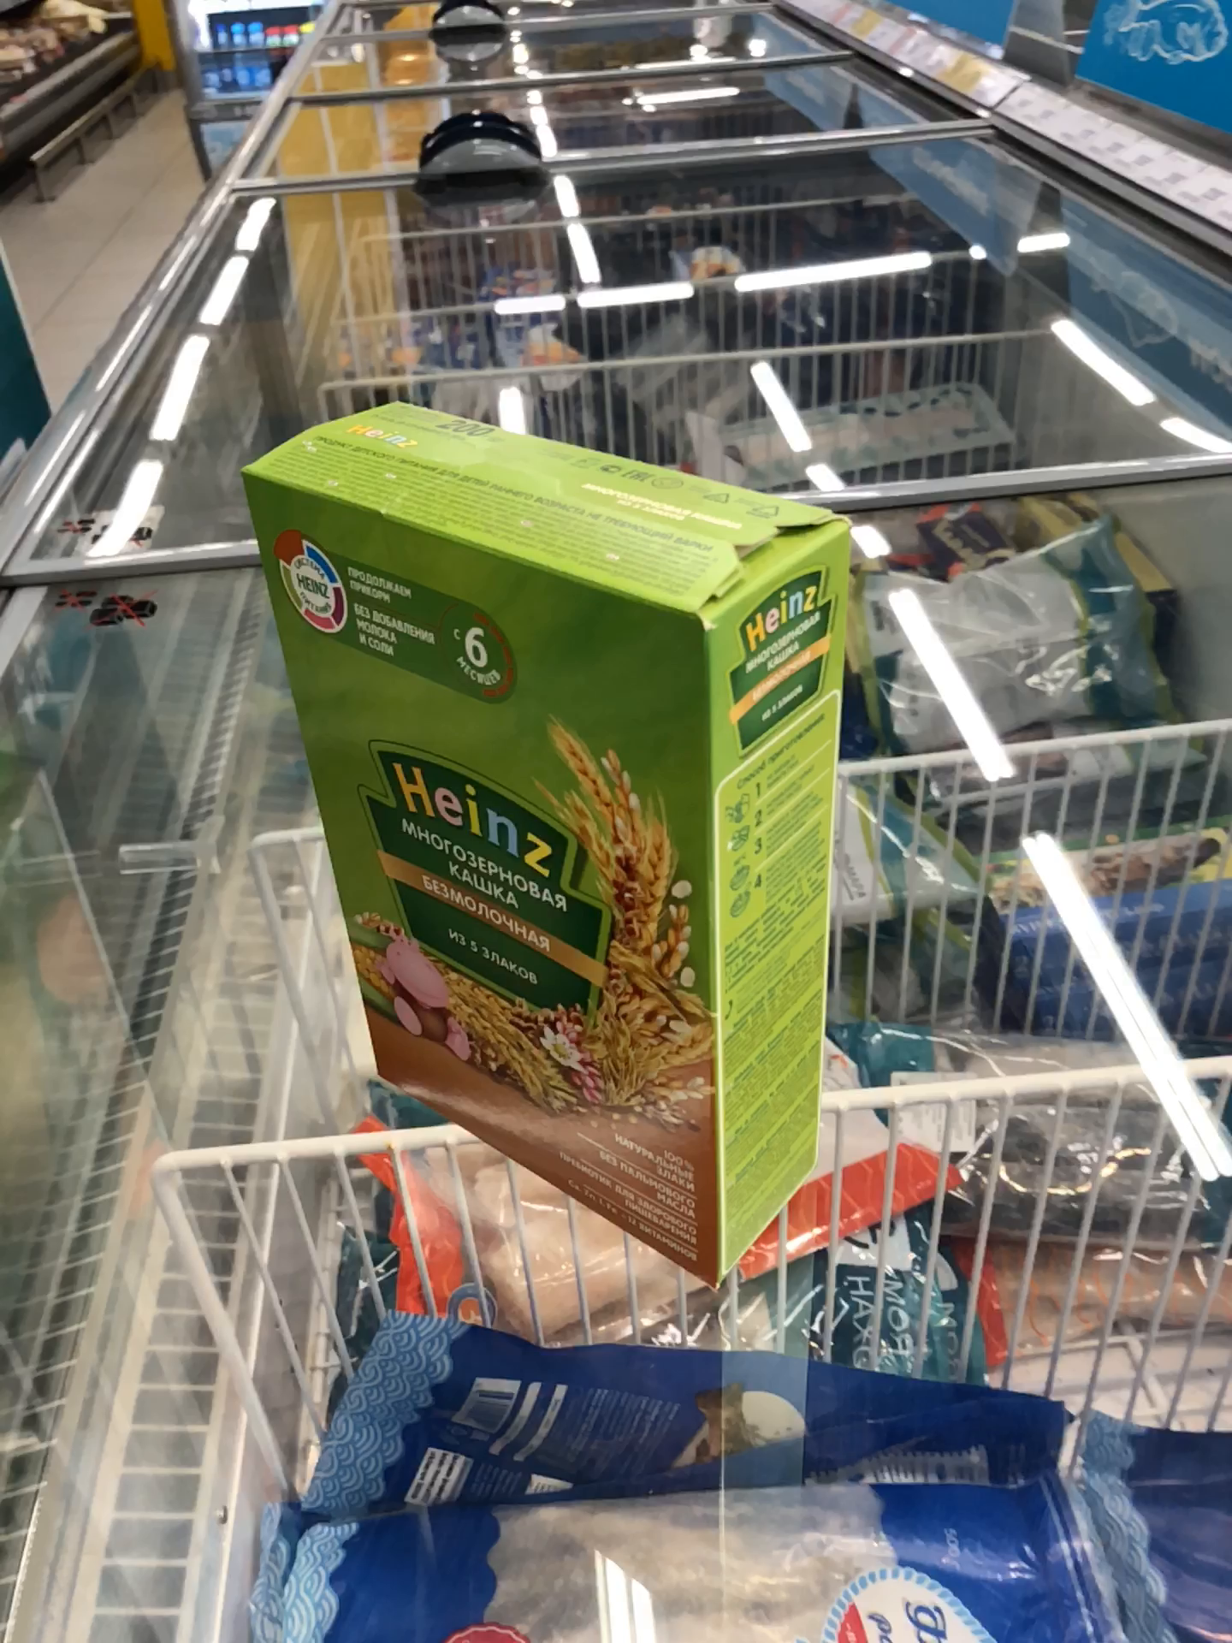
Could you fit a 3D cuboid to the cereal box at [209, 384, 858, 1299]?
[{"bbox_3d":[-0.017,0.007,0.345,0.140,0.199,0.050,23,44,32],"label":"cereal box"}]
